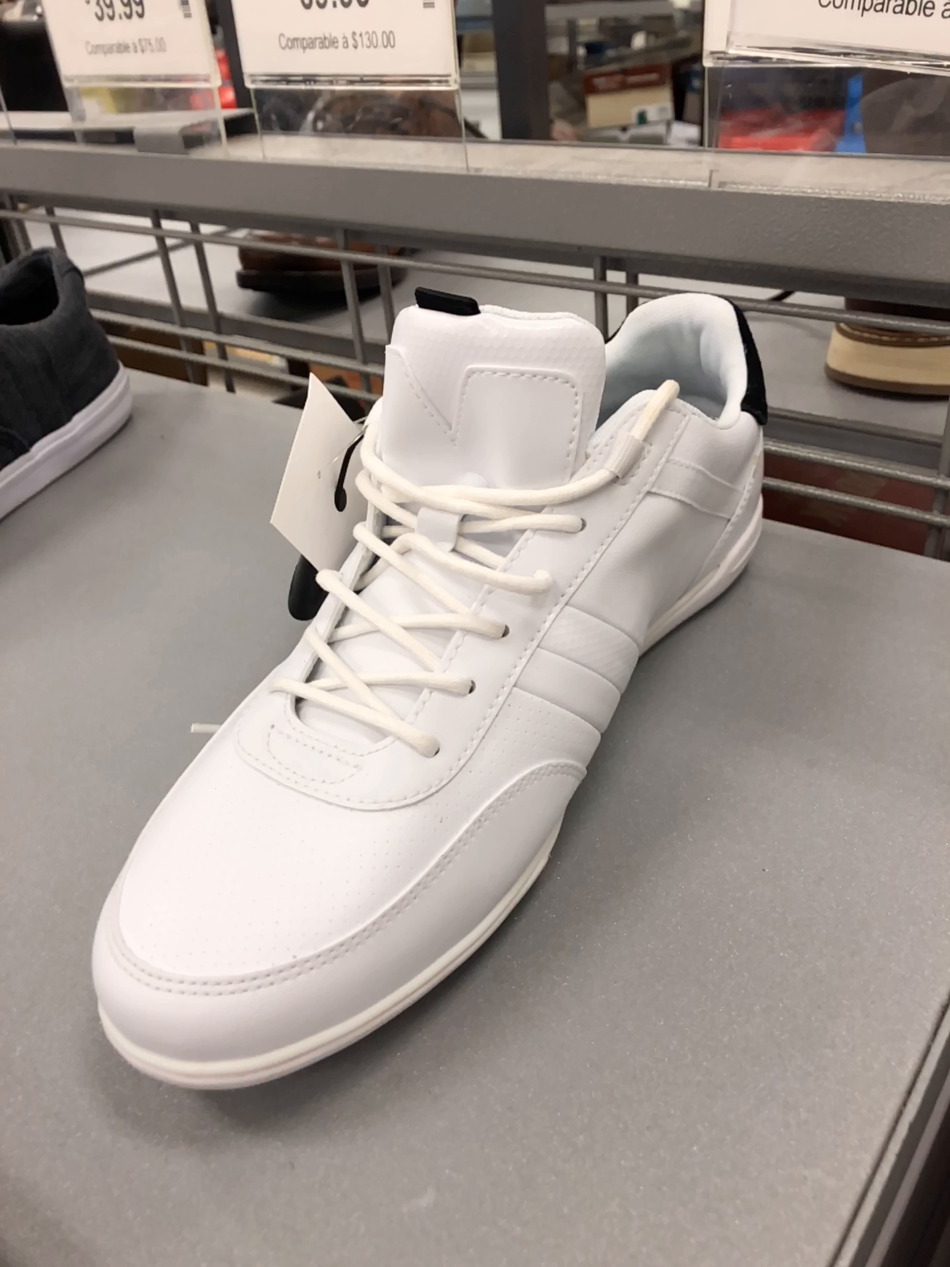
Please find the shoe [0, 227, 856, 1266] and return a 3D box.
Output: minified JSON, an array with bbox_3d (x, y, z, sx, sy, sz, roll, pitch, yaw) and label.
[{"bbox_3d":[0.001,-0.012,0.284,0.110,0.119,0.272,15,39,29],"label":"shoe"}]
